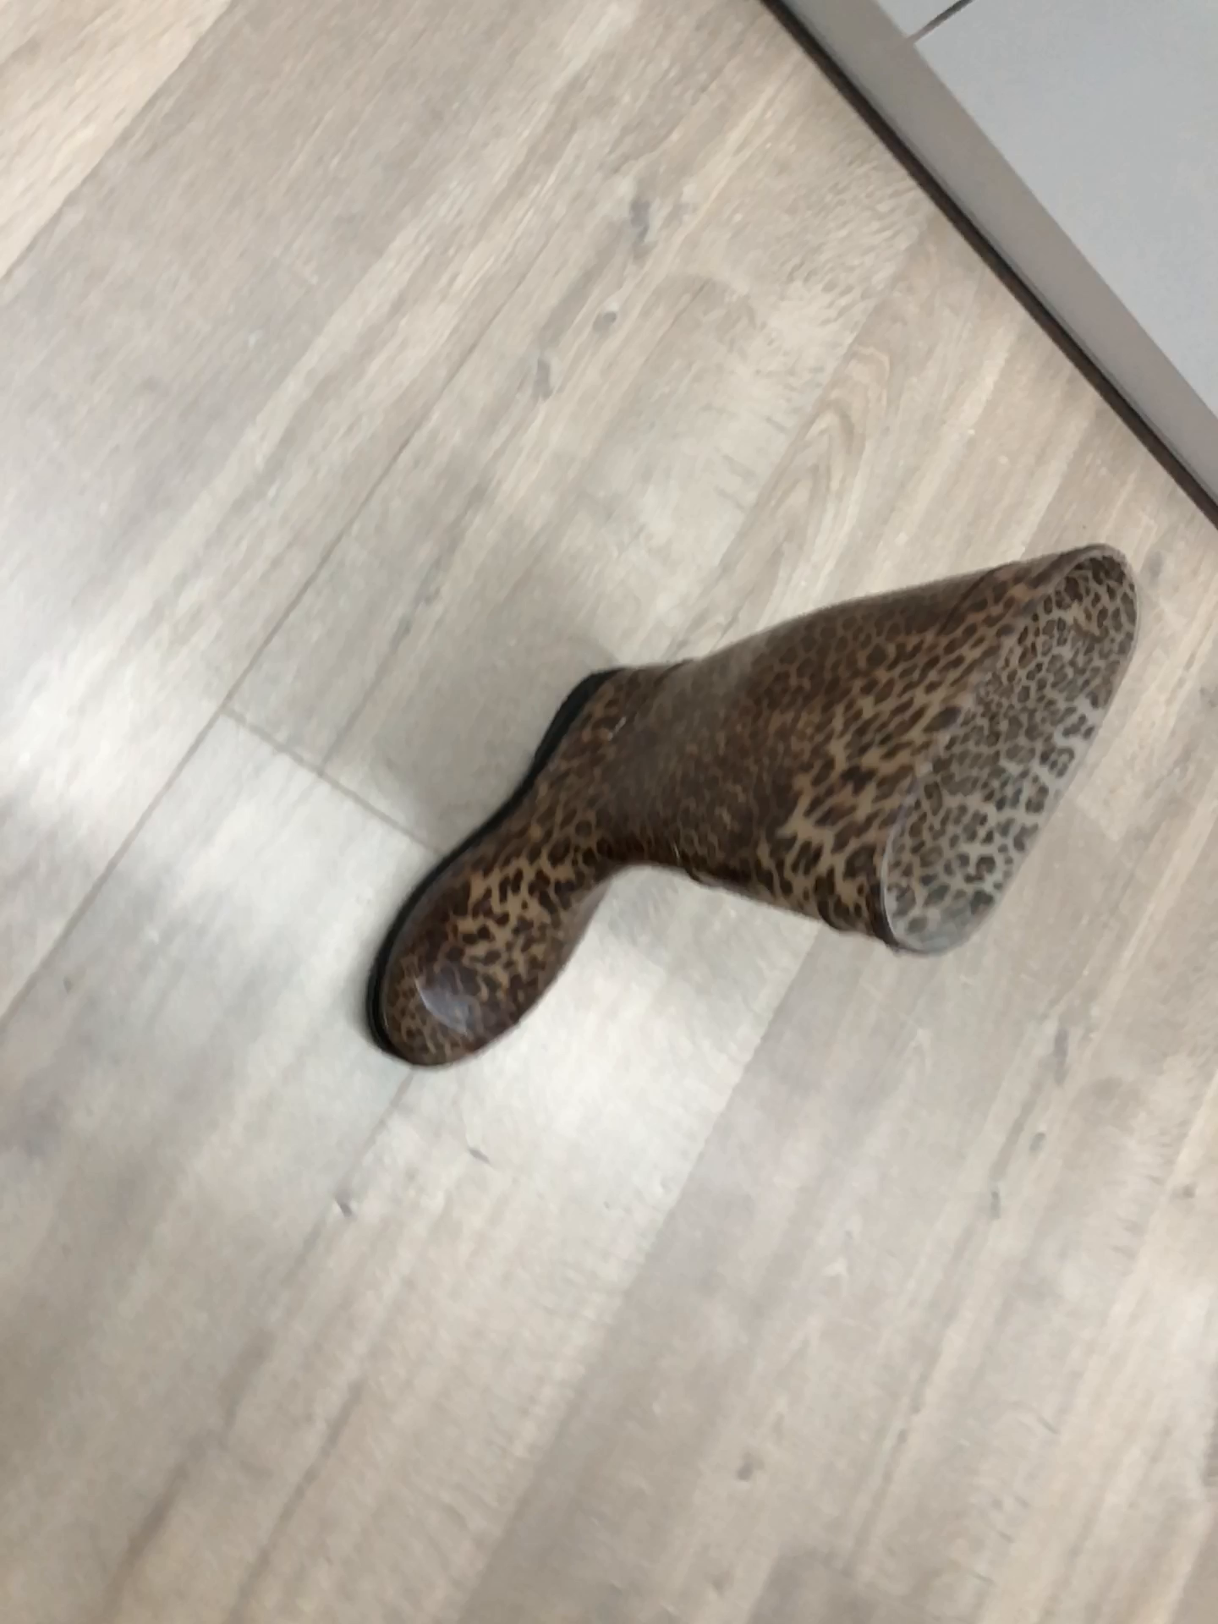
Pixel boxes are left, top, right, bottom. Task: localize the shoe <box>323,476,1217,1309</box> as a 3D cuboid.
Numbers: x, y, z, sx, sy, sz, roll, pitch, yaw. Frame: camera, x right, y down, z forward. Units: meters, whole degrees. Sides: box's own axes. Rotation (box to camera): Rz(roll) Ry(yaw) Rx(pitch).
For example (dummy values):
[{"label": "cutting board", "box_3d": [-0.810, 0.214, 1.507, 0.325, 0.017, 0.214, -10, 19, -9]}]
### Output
[{"label": "shoe", "box_3d": [0.042, 0.016, 0.597, 0.090, 0.339, 0.280, 42, 72, -22]}]
